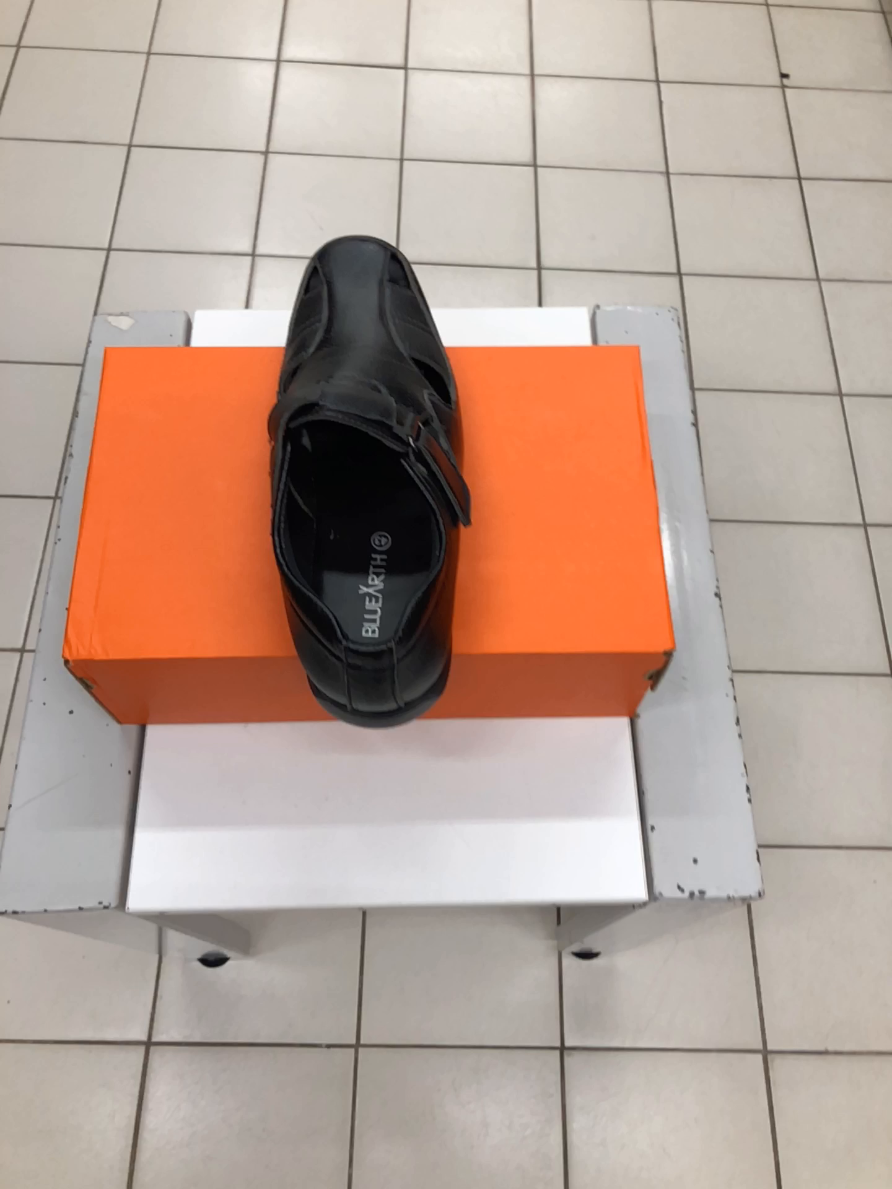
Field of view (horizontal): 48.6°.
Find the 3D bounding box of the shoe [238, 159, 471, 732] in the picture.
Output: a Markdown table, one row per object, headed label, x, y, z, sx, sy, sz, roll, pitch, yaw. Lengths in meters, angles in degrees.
| label | x | y | z | sx | sy | sz | roll | pitch | yaw |
| --- | --- | --- | --- | --- | --- | --- | --- | --- | --- |
| shoe | -0.045 | -0.086 | 0.535 | 0.100 | 0.100 | 0.301 | 0 | 65 | -3 |
